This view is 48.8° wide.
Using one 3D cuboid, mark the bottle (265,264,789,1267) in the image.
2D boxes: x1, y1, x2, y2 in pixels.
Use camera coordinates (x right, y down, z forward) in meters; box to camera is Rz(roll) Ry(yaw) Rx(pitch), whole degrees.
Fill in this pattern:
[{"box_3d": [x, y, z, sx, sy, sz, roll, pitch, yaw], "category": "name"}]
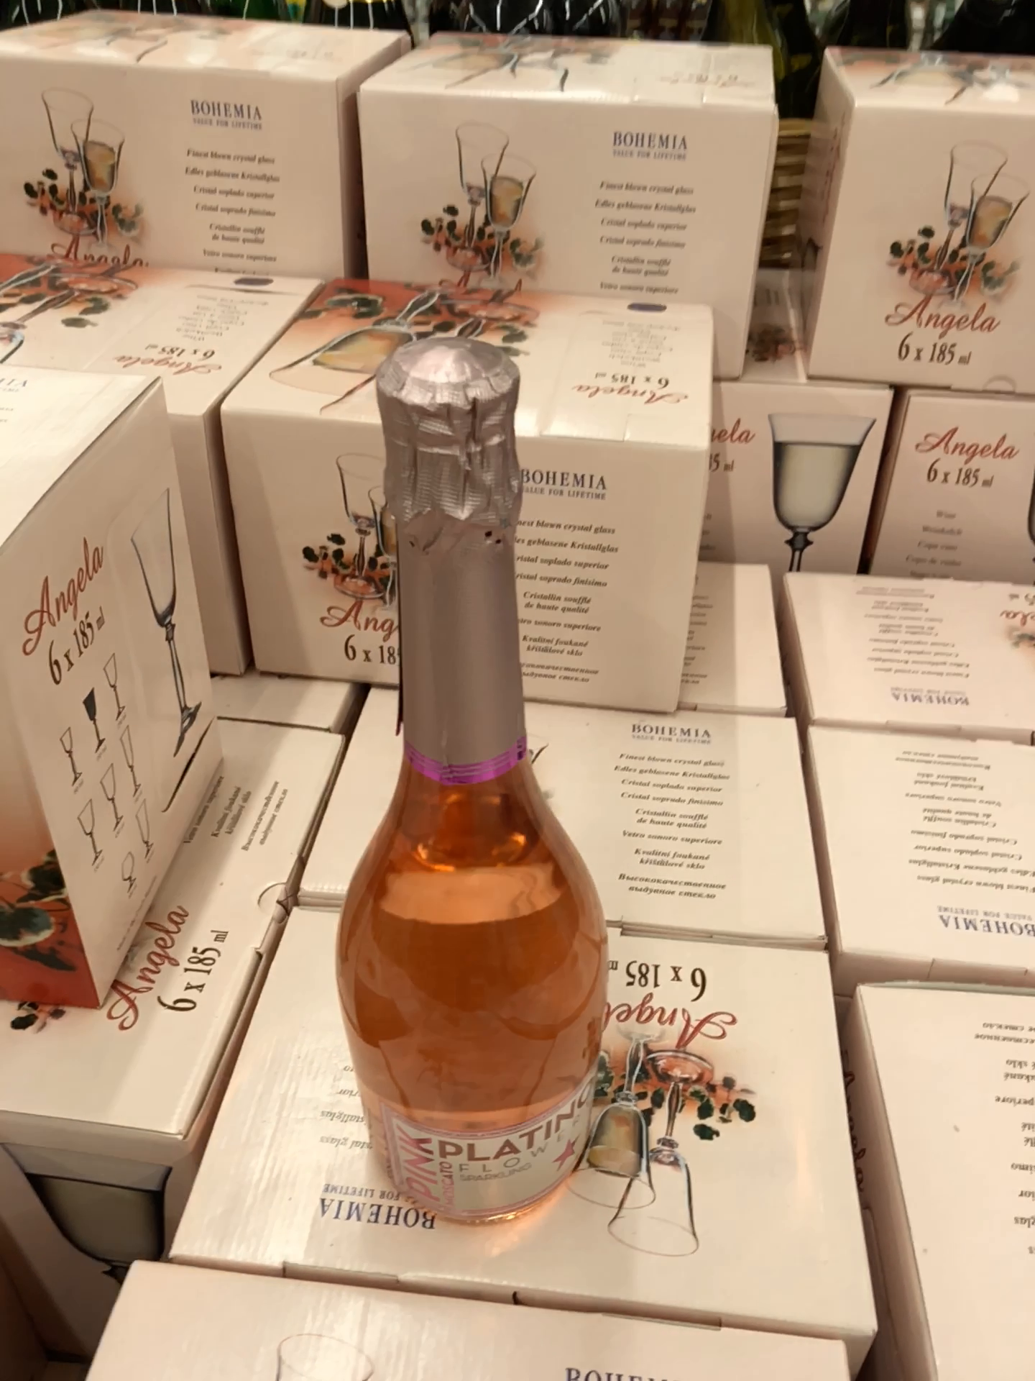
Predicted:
[{"box_3d": [-0.008, 0.043, 0.355, 0.100, 0.308, 0.101, 1, 37, -1], "category": "bottle"}]
